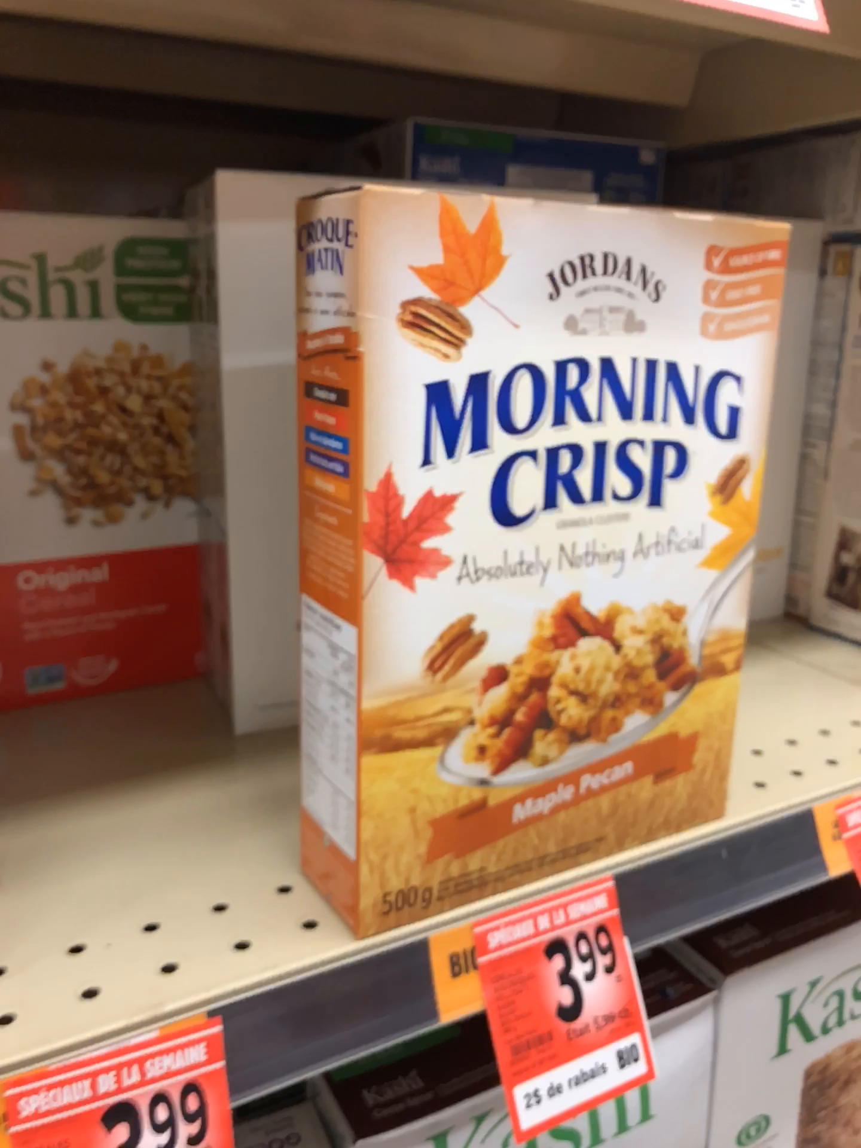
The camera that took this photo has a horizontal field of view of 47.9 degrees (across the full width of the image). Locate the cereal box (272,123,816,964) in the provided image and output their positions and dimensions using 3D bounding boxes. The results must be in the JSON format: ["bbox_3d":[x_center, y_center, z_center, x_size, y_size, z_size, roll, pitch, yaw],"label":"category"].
[{"bbox_3d":[0.041,-0.012,0.359,0.190,0.259,0.050,-7,17,-30],"label":"cereal box"}]
